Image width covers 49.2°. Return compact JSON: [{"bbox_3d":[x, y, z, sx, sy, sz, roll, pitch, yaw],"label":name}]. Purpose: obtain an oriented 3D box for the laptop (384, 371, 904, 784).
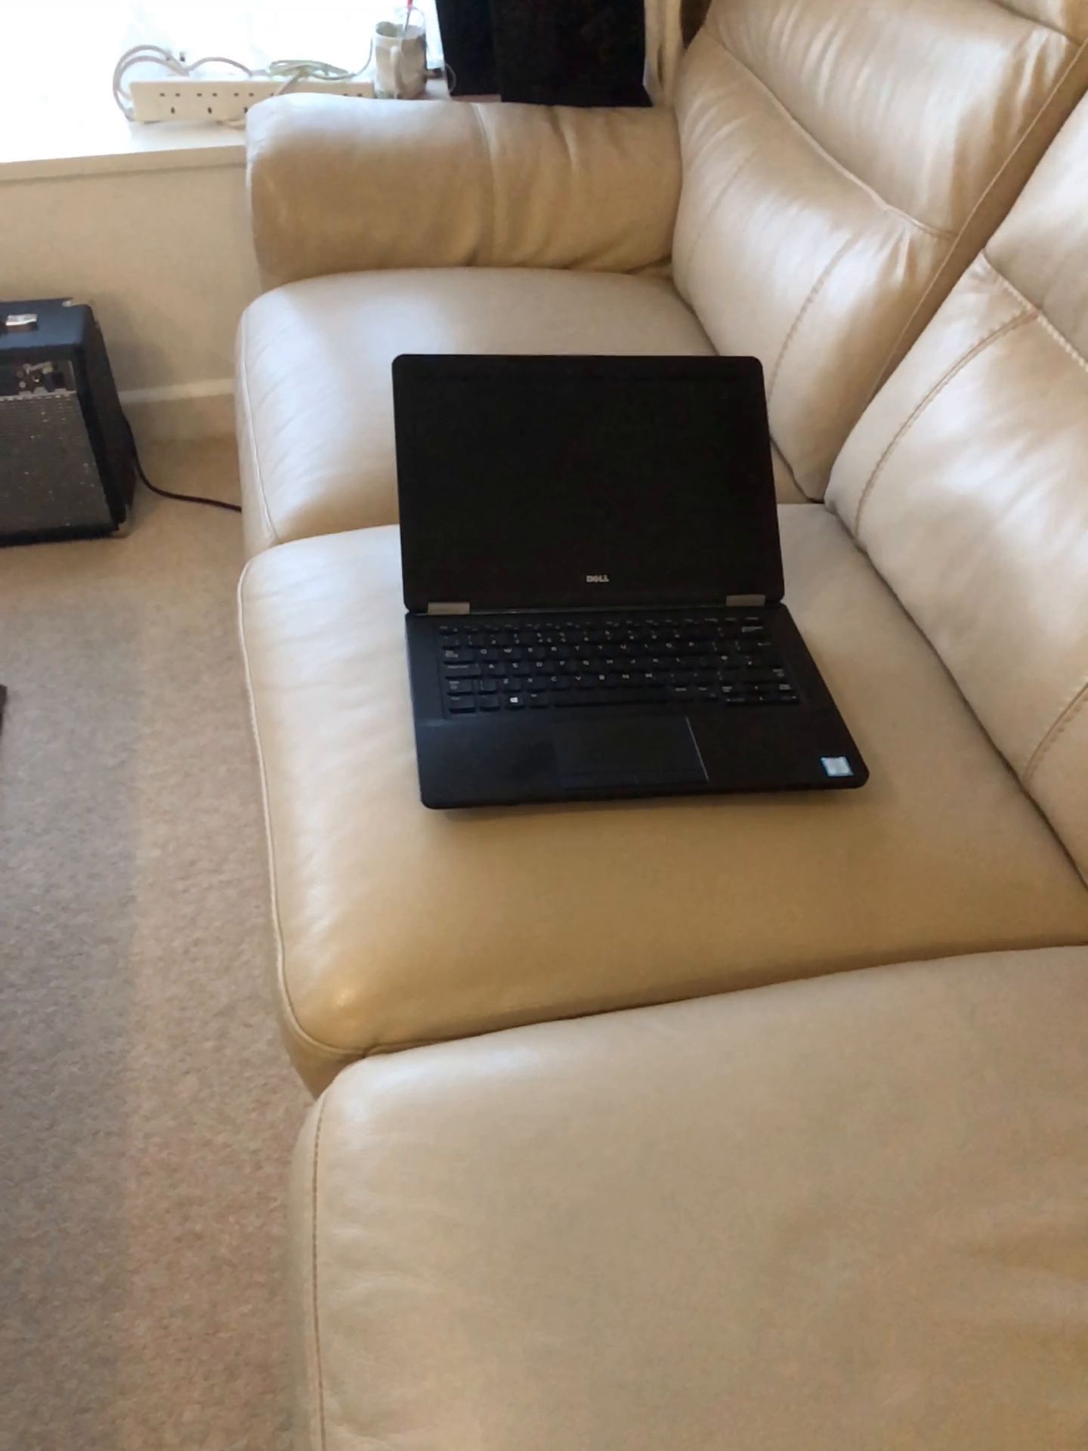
[{"bbox_3d":[0.045,-0.131,0.893,0.305,0.124,0.377,-2,40,-8],"label":"laptop"}]
